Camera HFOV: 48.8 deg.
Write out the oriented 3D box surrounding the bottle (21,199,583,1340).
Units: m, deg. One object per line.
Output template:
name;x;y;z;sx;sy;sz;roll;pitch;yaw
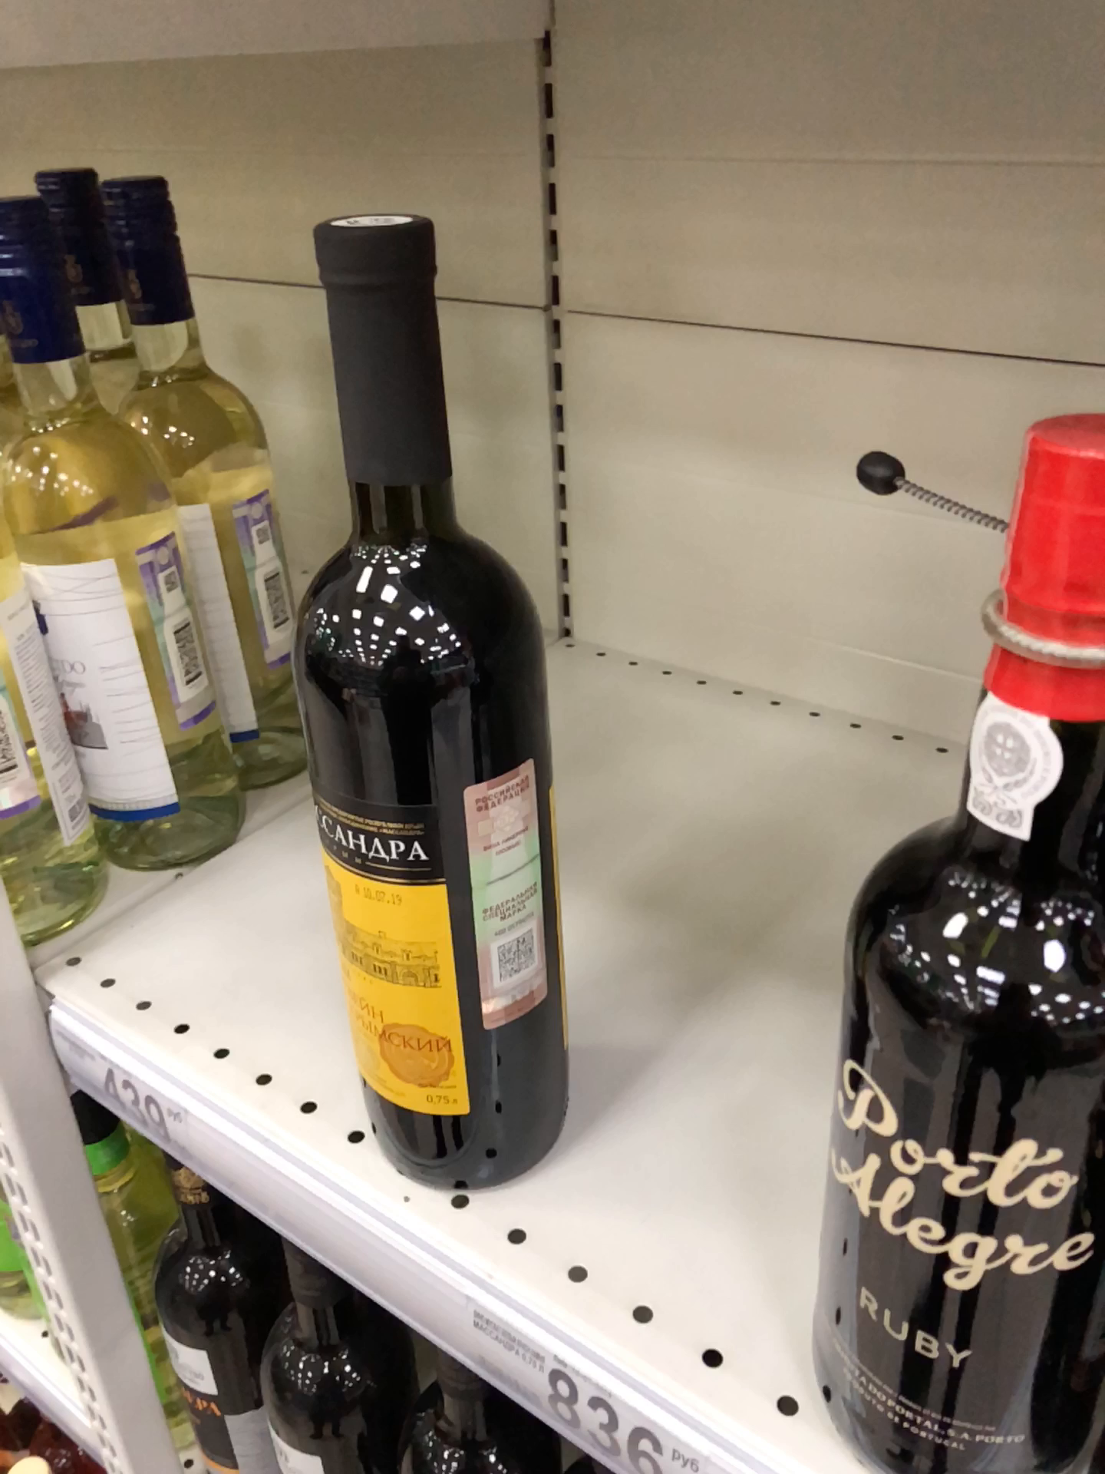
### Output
bottle;-0.065;0.020;0.398;0.100;0.348;0.100;-2;28;1
